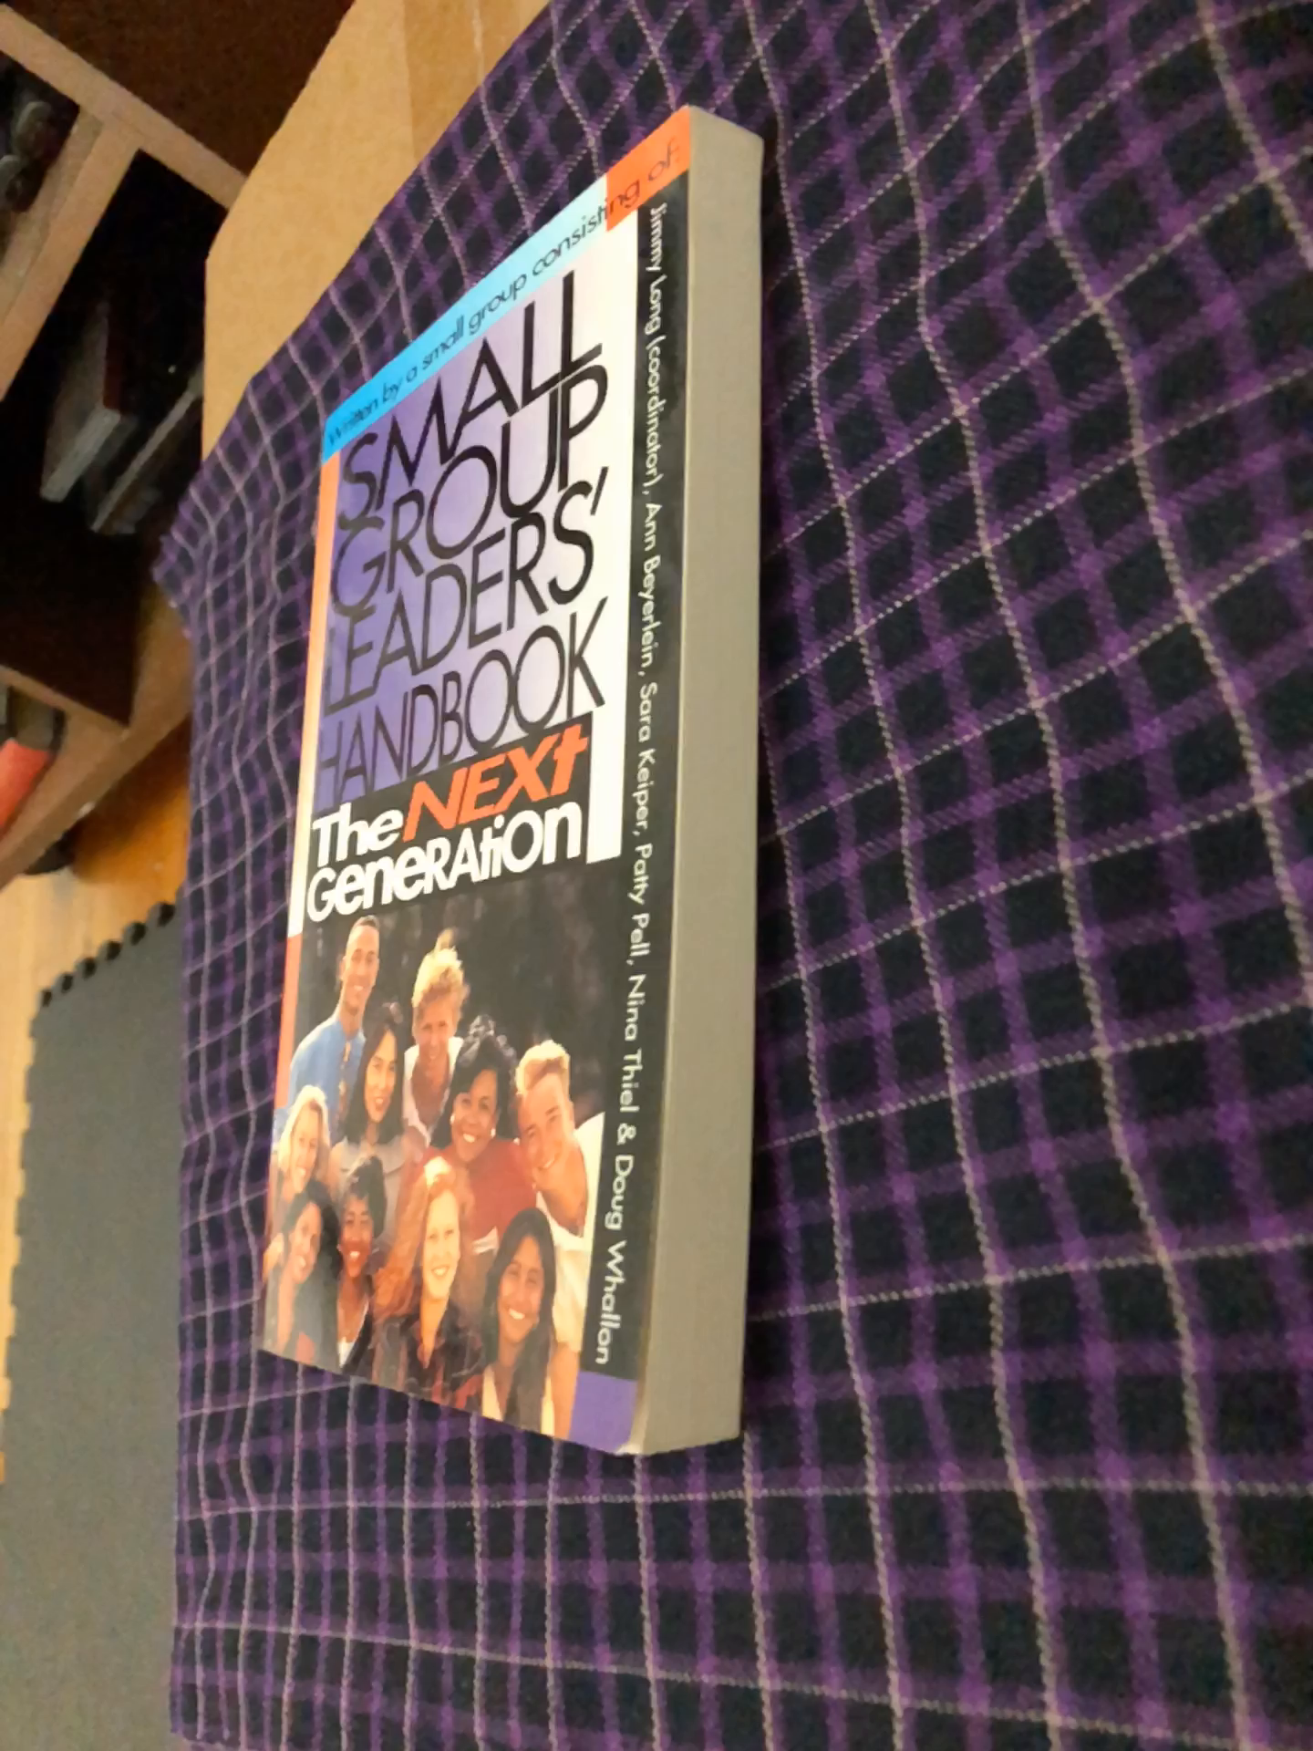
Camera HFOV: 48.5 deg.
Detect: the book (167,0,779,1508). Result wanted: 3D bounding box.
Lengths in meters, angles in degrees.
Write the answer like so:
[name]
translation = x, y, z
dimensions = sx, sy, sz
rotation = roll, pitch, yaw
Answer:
[book]
translation = -0.040, -0.017, 0.268
dimensions = 0.151, 0.030, 0.220
rotation = -14, 71, 51
